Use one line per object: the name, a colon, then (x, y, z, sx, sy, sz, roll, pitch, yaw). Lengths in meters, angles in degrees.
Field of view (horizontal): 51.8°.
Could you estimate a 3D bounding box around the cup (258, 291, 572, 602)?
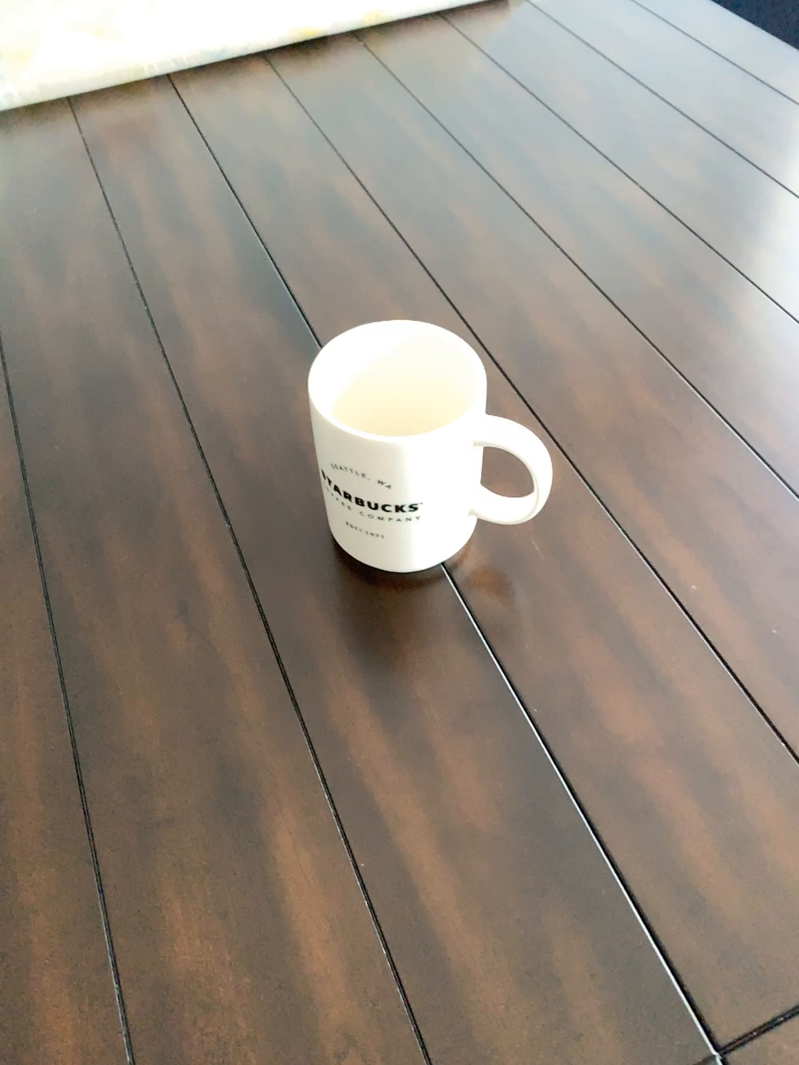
cup: (0.010, -0.044, 0.437, 0.130, 0.110, 0.090, 13, 55, 10)
